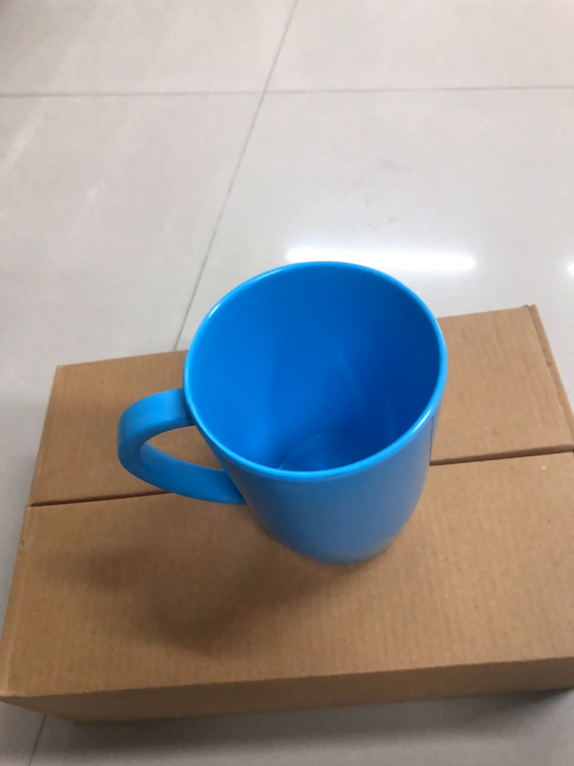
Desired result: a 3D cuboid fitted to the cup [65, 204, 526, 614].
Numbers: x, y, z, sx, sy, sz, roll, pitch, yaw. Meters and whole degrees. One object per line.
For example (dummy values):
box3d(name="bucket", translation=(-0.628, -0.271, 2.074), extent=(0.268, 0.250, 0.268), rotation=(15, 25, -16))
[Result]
box3d(name="cup", translation=(0.001, 0.014, 0.222), extent=(0.120, 0.090, 0.080), rotation=(-14, 55, 0))
